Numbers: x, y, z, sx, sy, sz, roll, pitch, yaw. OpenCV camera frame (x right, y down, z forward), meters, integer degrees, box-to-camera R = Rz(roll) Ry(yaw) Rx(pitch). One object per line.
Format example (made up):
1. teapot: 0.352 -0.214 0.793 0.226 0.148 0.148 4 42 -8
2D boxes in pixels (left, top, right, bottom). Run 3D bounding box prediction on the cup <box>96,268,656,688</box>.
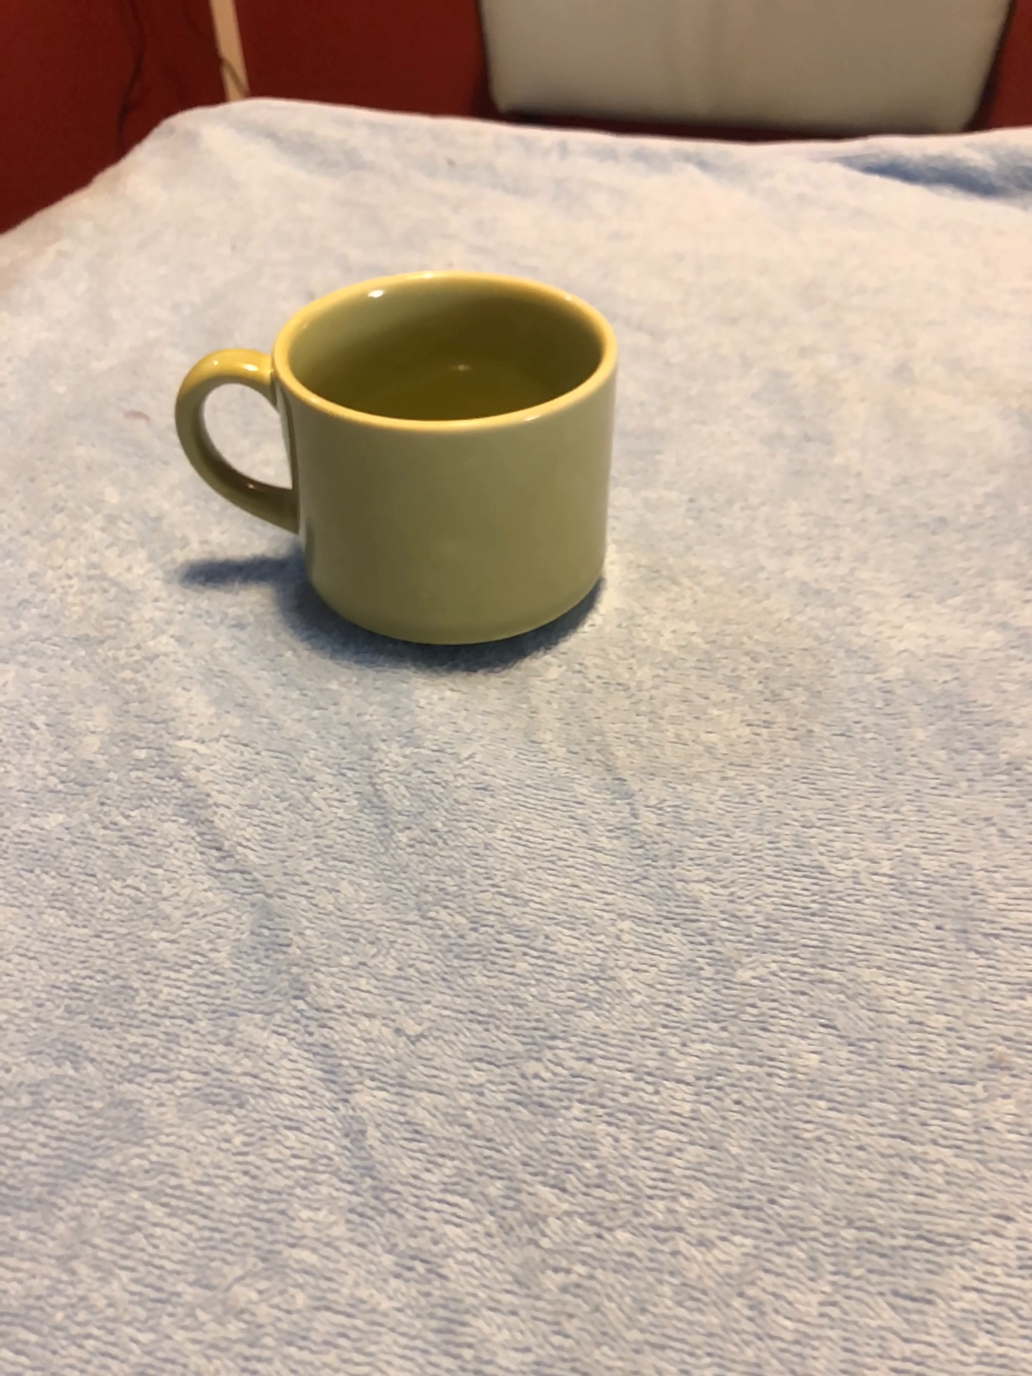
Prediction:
1. cup: -0.027 -0.053 0.281 0.110 0.060 0.091 -1 41 1
